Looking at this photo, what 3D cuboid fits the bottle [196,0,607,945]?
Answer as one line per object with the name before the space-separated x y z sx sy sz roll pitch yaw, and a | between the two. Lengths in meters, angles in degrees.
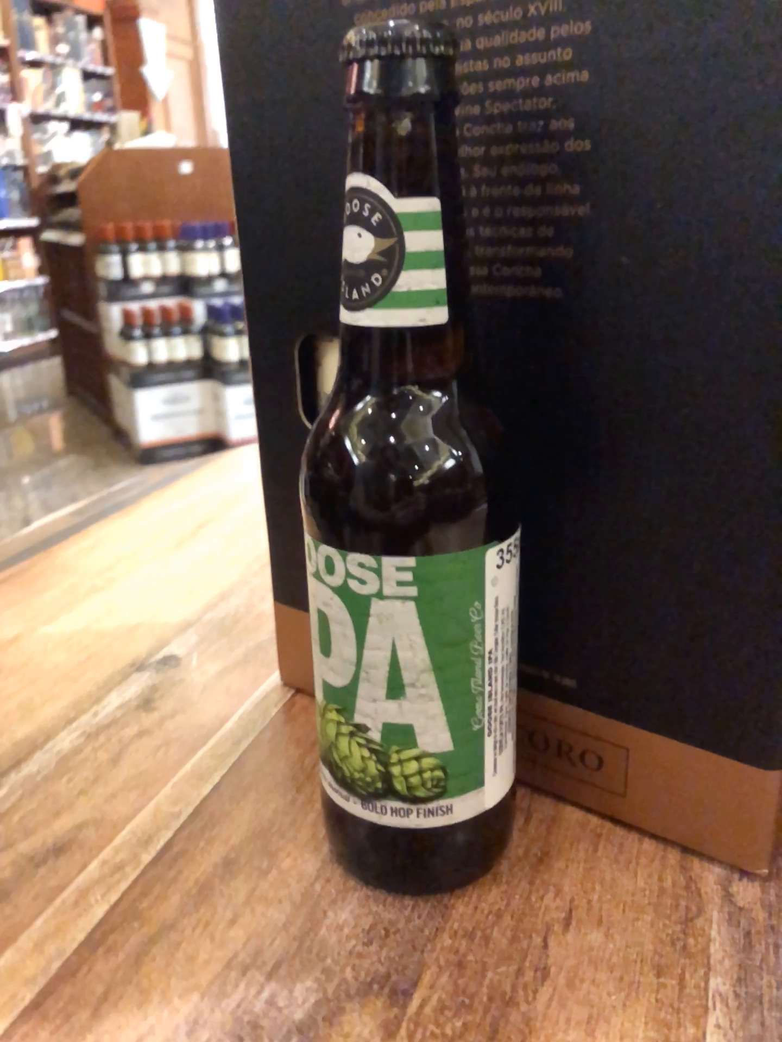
bottle | 0.006 -0.012 0.234 0.070 0.229 0.060 14 25 39
